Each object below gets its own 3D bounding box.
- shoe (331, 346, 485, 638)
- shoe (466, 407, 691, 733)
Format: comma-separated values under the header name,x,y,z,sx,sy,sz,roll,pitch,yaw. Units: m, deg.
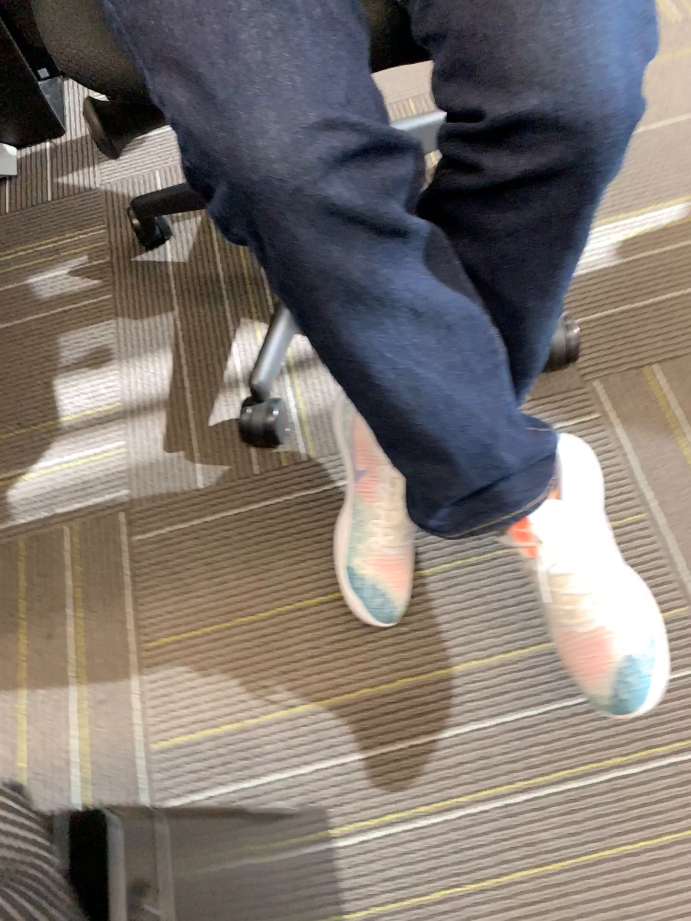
name,x,y,z,sx,sy,sz,roll,pitch,yaw
shoe,0.058,0.035,0.769,0.115,0.109,0.287,8,62,-18
shoe,0.216,0.099,0.654,0.113,0.108,0.266,5,65,-32
